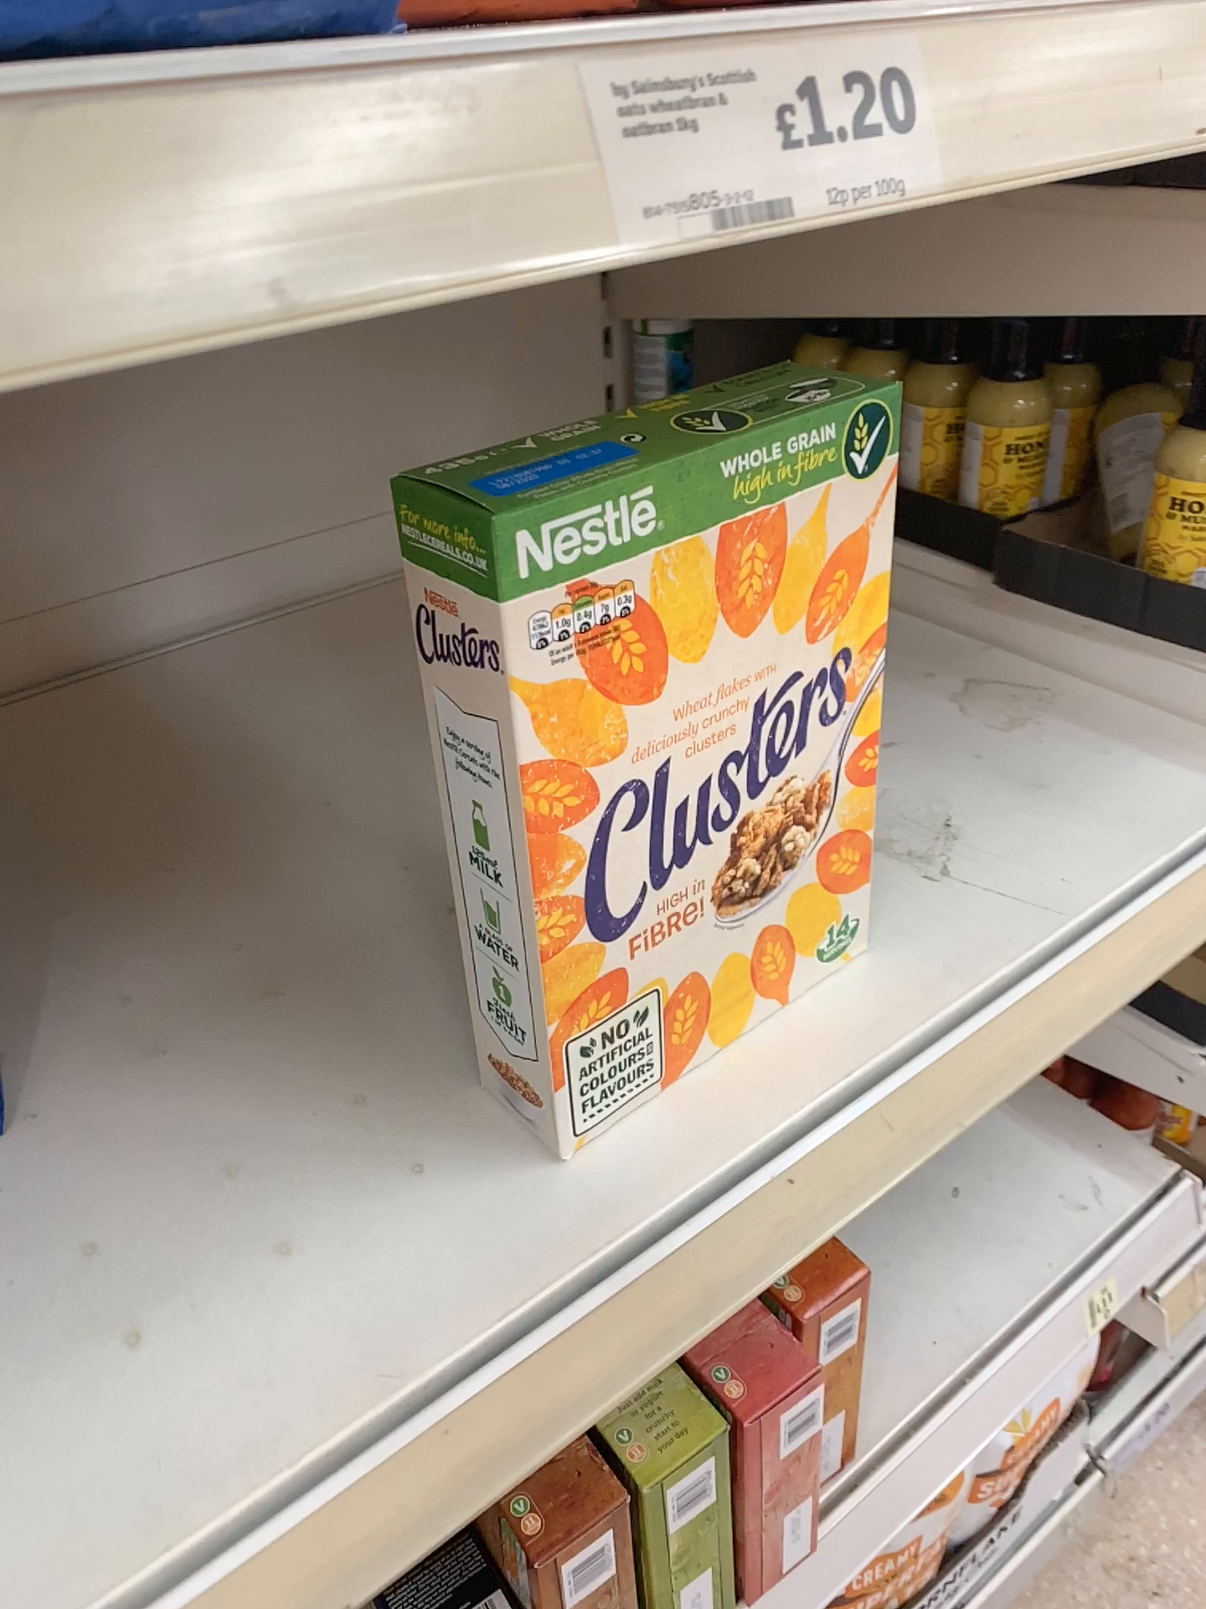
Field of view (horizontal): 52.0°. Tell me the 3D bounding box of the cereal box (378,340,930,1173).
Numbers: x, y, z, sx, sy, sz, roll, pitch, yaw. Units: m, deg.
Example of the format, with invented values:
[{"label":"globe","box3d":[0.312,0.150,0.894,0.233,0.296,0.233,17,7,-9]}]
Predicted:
[{"label":"cereal box","box3d":[0.033,-0.021,0.487,0.201,0.267,0.060,-27,38,-33]}]
